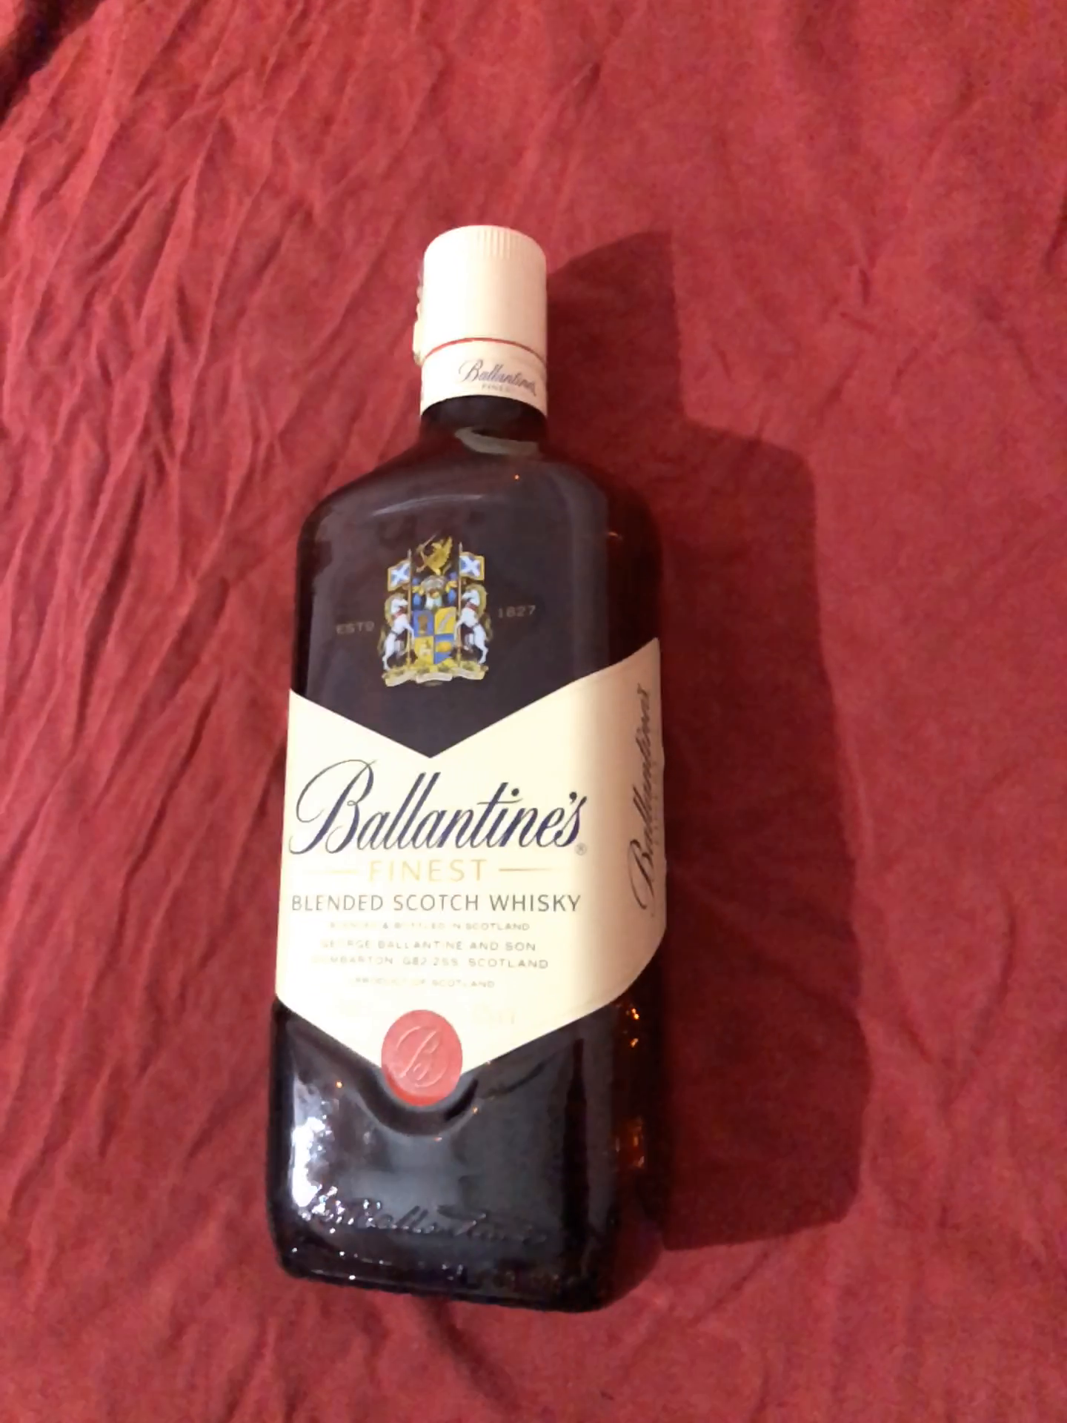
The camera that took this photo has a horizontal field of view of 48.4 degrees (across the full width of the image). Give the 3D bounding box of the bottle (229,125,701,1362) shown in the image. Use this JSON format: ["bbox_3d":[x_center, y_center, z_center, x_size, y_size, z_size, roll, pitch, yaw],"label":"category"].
[{"bbox_3d":[-0.013,0.002,0.276,0.090,0.050,0.250,-3,81,18],"label":"bottle"}]
